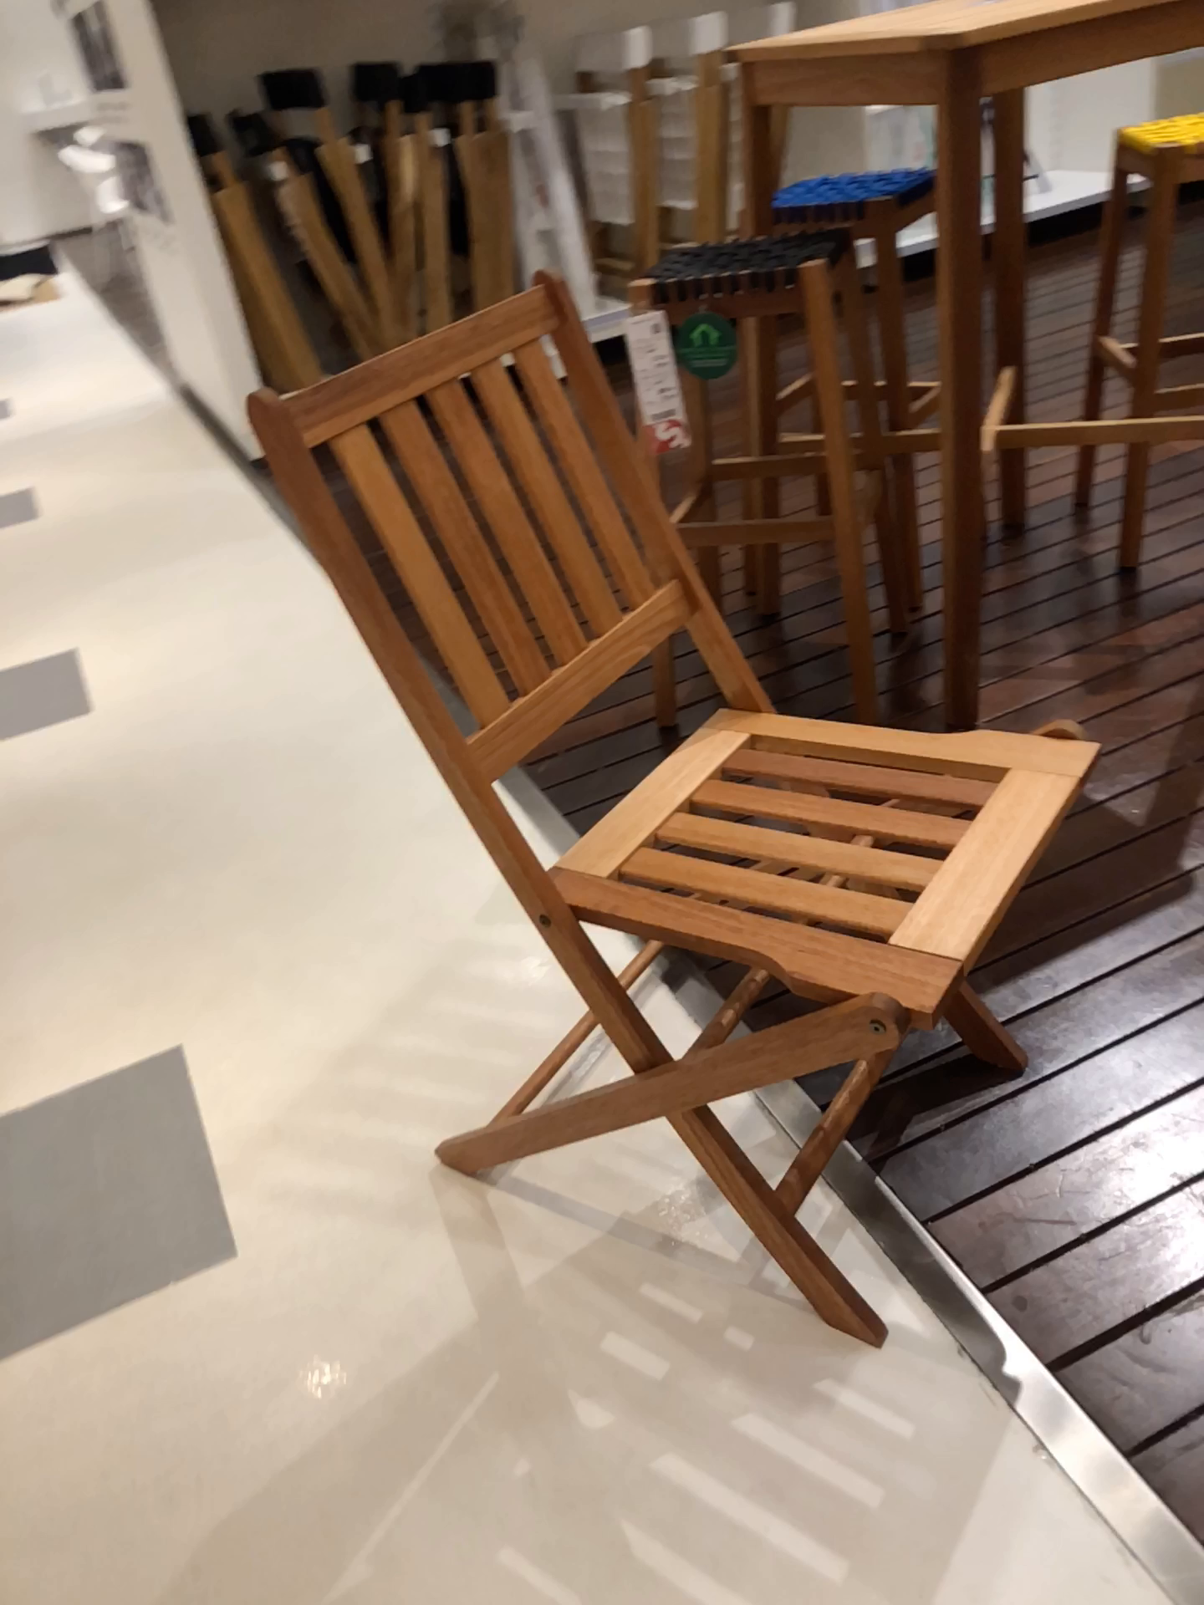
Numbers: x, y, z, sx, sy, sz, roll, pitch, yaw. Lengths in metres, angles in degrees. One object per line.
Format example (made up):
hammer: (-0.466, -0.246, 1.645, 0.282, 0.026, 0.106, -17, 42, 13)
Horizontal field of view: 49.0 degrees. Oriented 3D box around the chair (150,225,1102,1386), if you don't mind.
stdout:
chair: (0.091, -0.027, 1.284, 0.601, 0.863, 0.503, 12, 38, 32)
